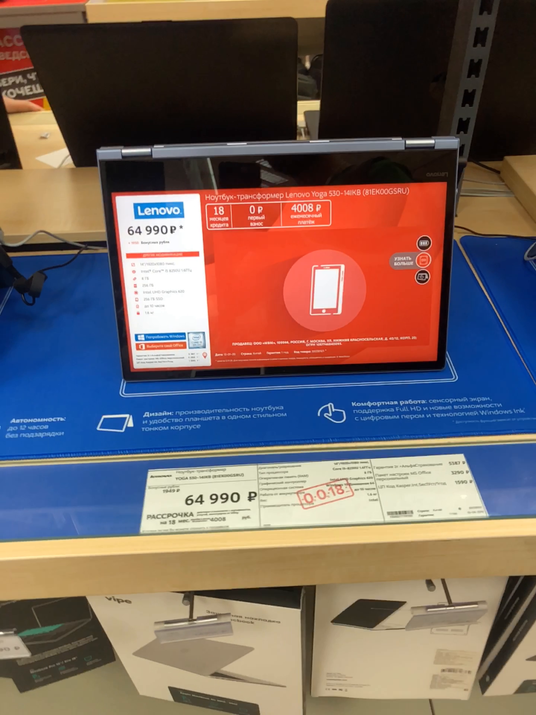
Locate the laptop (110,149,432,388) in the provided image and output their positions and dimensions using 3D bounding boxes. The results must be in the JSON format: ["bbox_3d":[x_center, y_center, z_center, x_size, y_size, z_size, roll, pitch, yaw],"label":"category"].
[{"bbox_3d":[0.008,-0.077,0.729,0.305,0.157,0.221,-3,2,-5],"label":"laptop"}]
